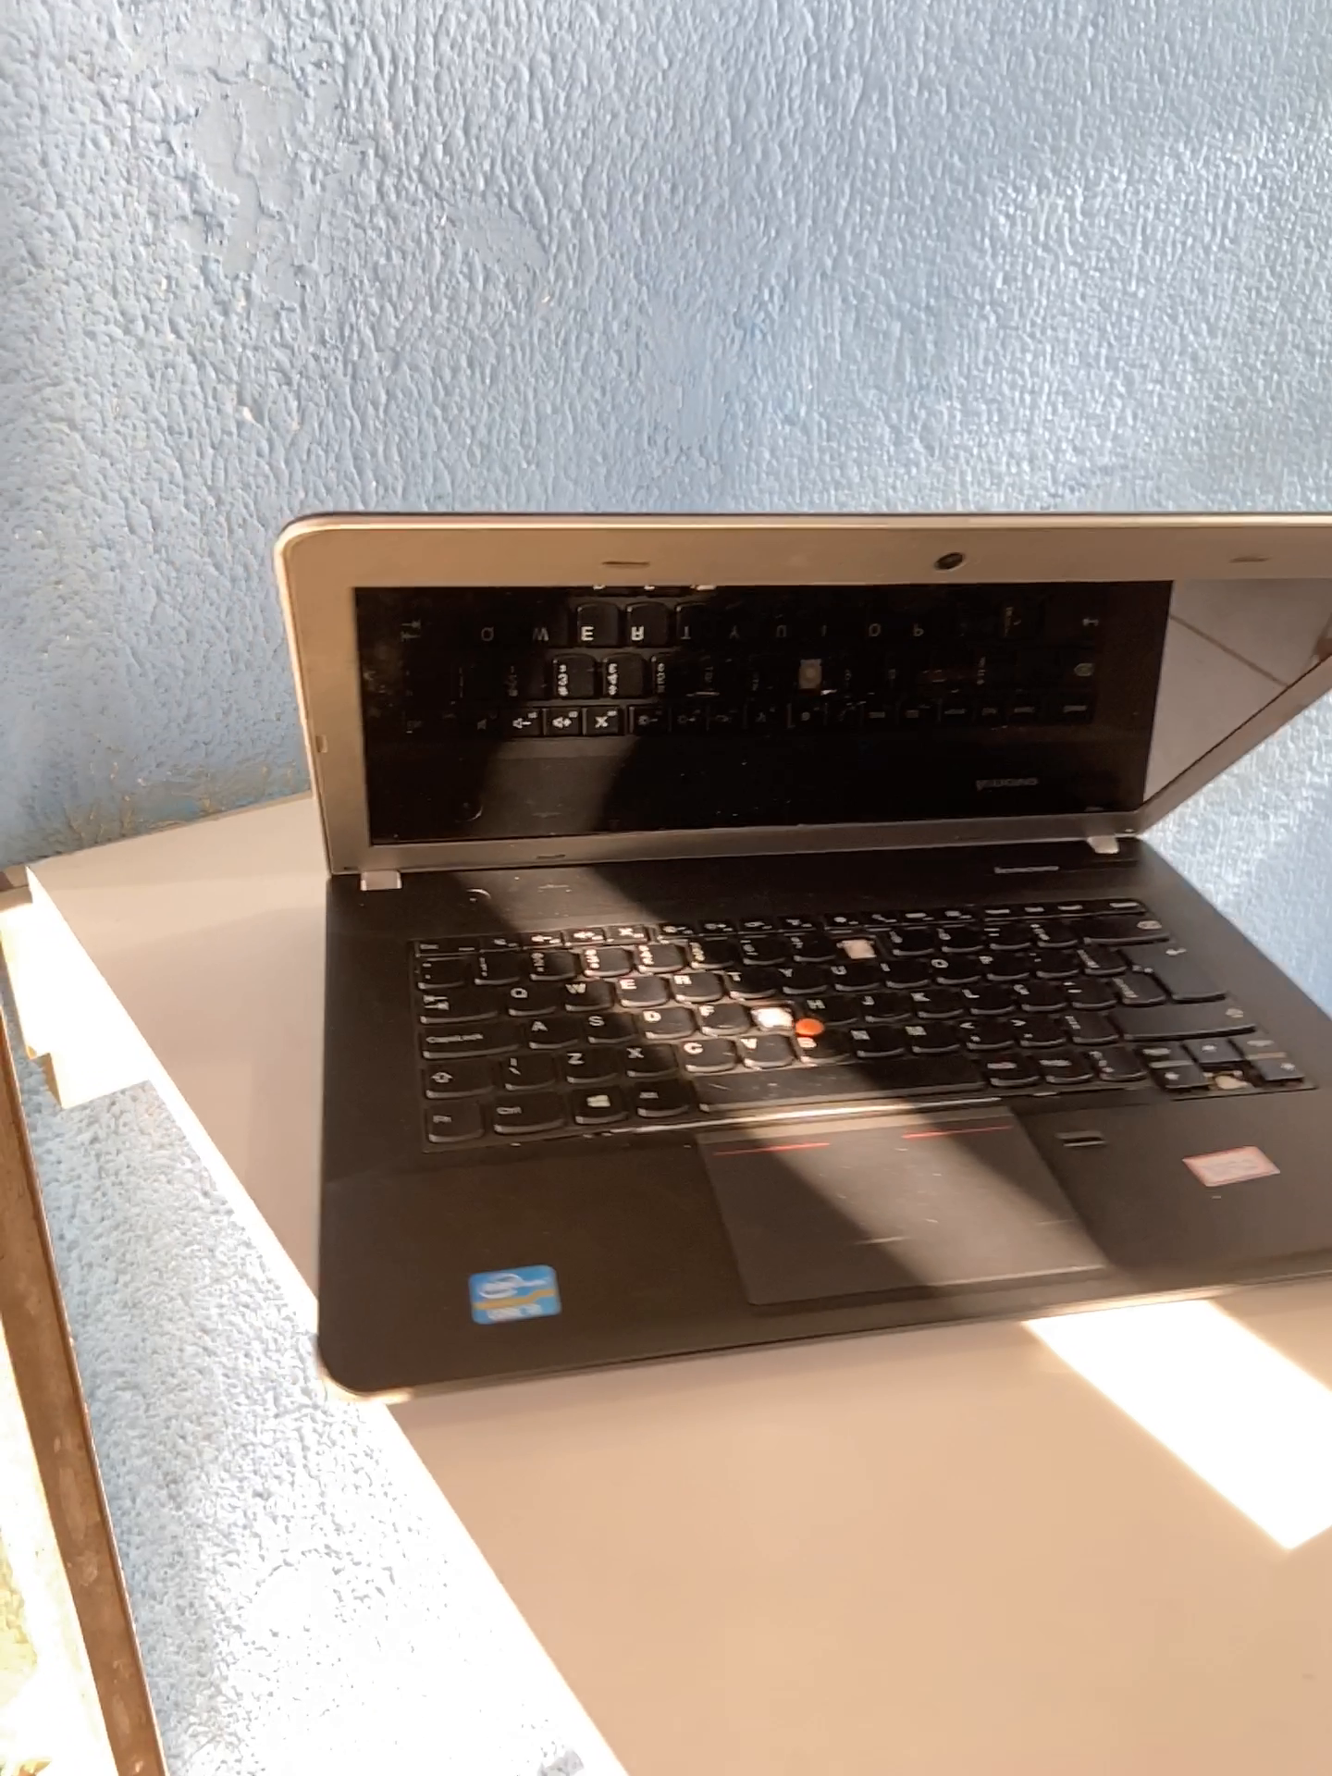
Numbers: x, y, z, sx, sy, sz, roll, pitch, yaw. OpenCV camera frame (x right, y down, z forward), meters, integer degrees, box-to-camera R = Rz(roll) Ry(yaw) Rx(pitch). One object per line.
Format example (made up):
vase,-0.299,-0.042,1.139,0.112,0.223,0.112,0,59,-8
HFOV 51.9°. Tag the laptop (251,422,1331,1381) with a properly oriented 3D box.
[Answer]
laptop,0.063,-0.027,0.408,0.330,0.165,0.231,-3,30,-12
